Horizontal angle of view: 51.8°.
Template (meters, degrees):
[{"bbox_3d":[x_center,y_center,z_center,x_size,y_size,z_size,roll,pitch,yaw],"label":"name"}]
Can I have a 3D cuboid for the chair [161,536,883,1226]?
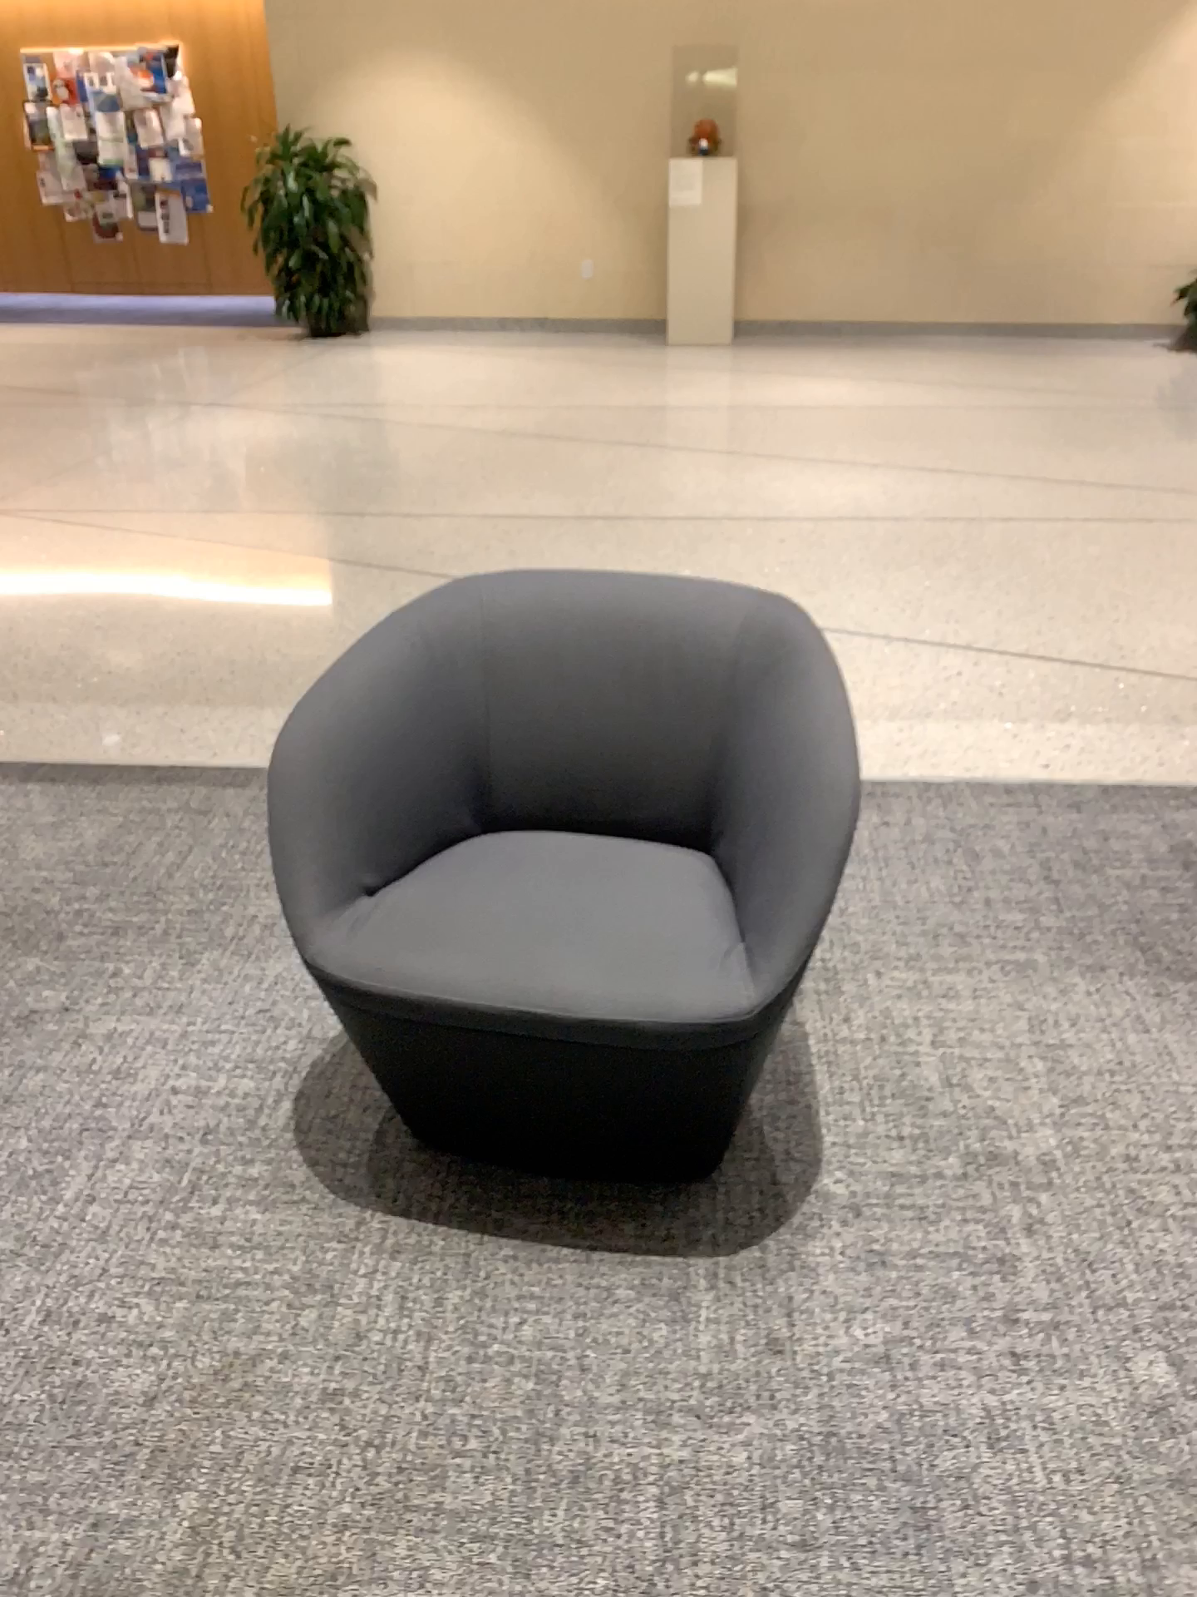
[{"bbox_3d":[-0.041,0.063,1.723,0.778,0.659,0.636,4,28,9],"label":"chair"}]

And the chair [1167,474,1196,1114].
[{"bbox_3d":[1.381,-0.065,1.909,0.769,0.669,0.635,9,29,17],"label":"chair"}]
